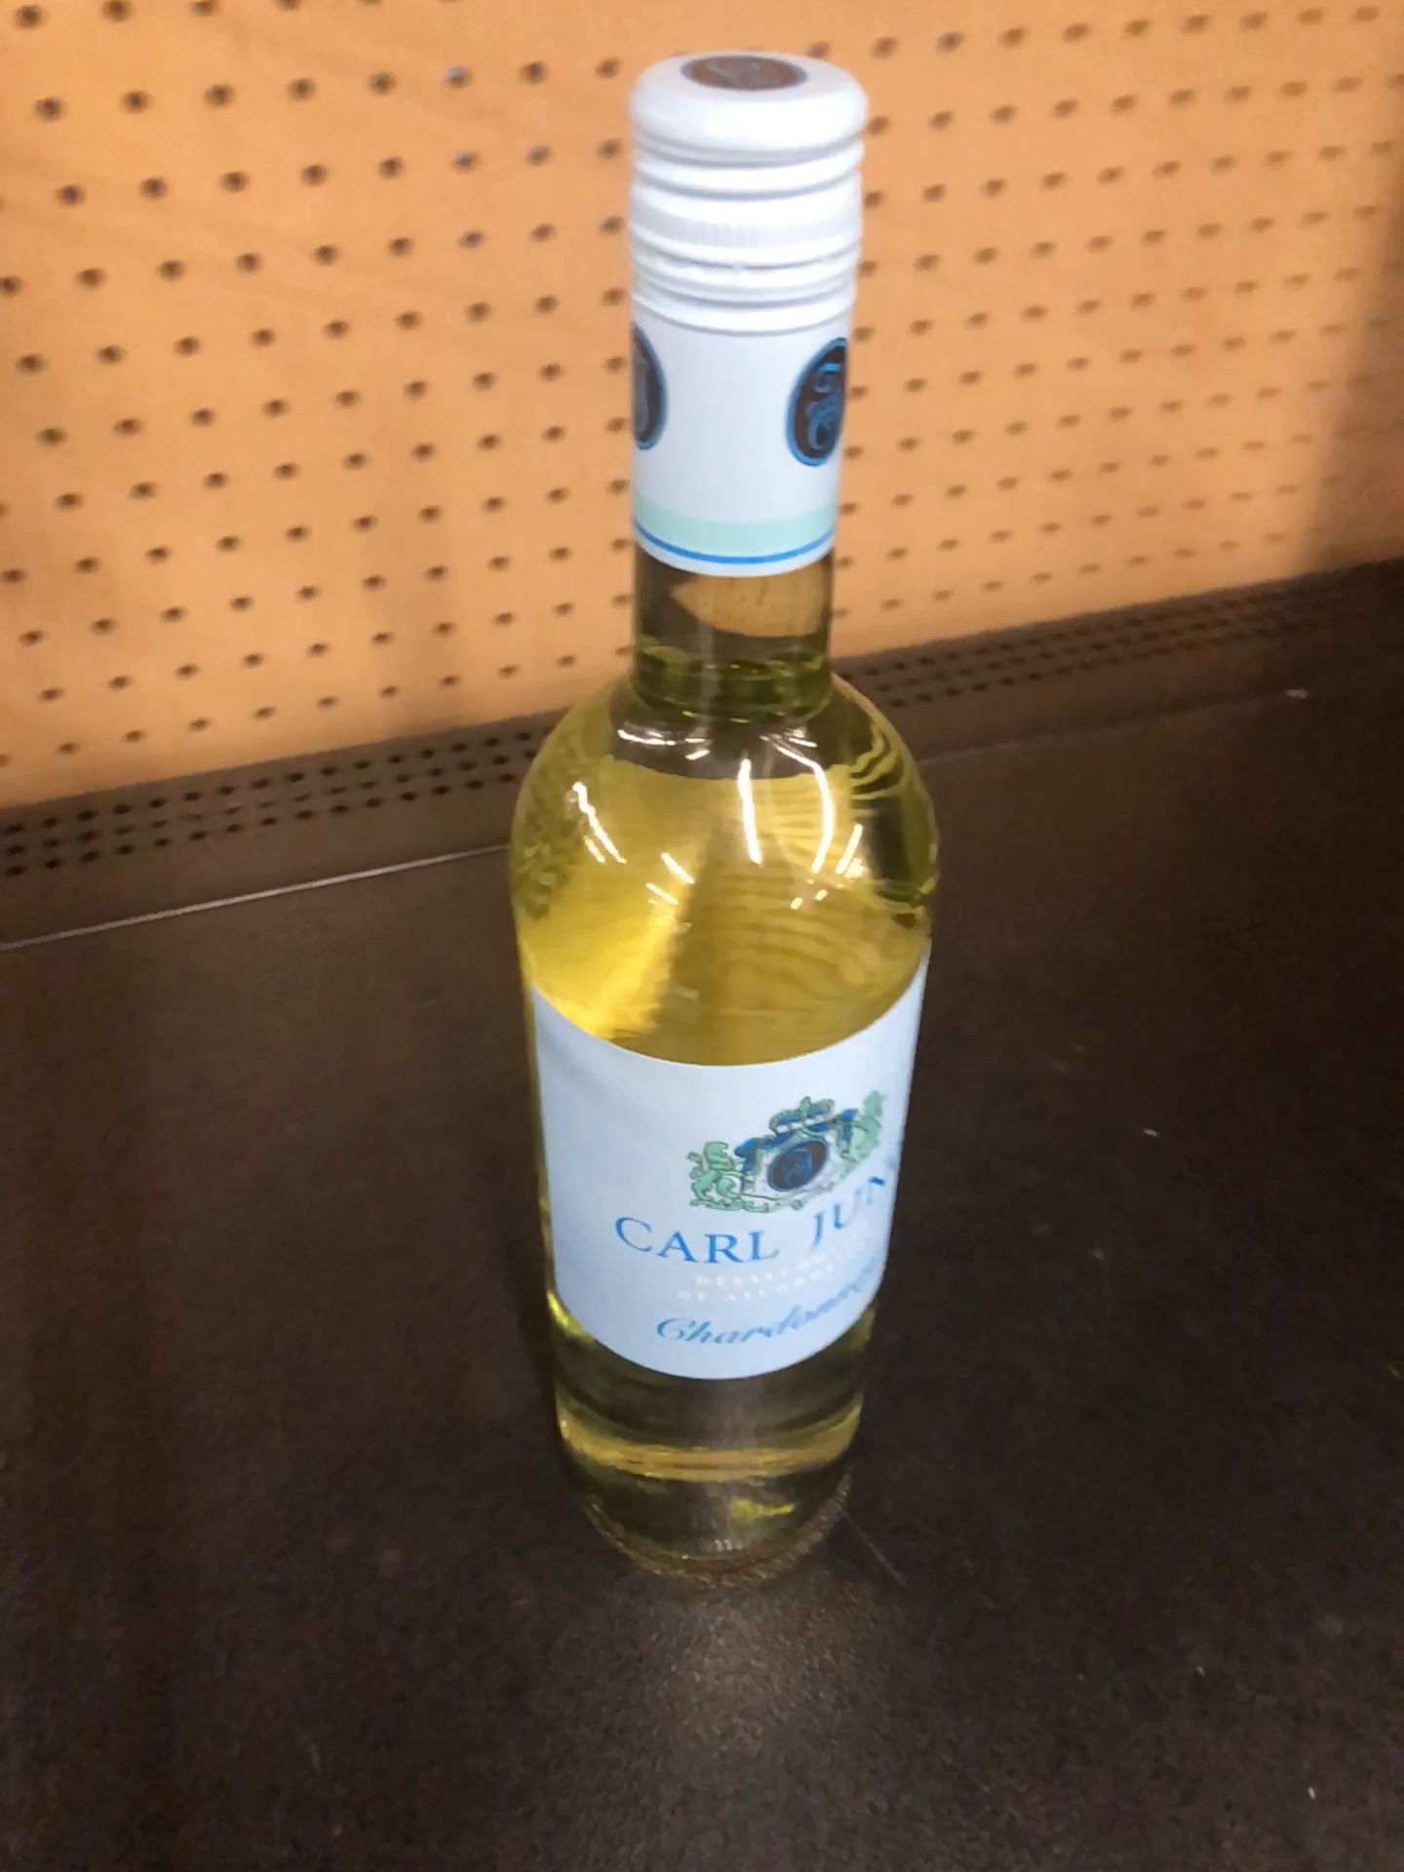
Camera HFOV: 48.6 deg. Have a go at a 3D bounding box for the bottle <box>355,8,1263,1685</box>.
[{"bbox_3d":[0.006,0.019,0.291,0.080,0.318,0.080,1,42,-1],"label":"bottle"}]
